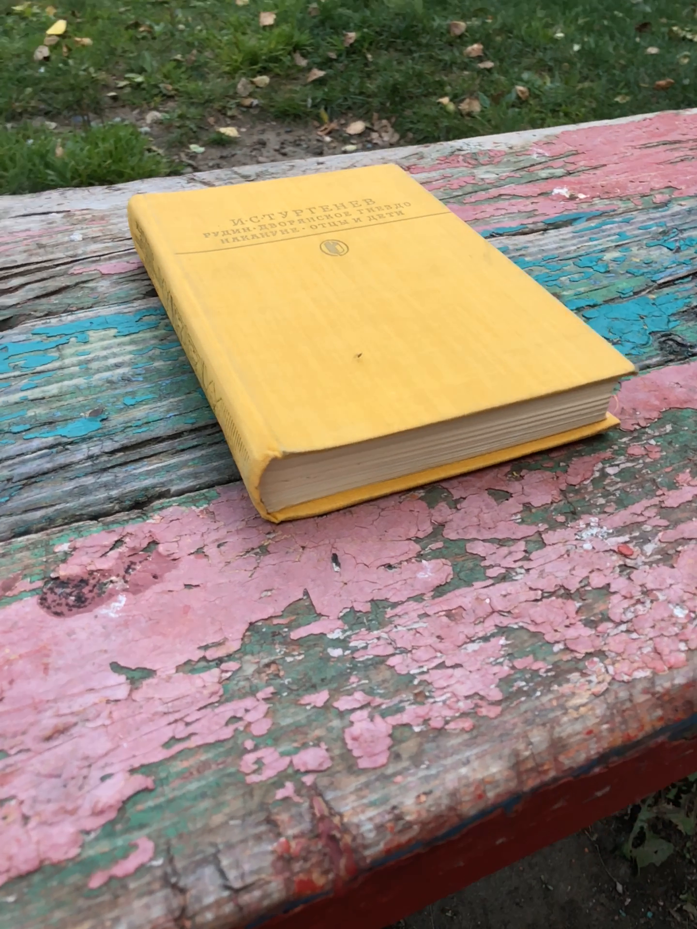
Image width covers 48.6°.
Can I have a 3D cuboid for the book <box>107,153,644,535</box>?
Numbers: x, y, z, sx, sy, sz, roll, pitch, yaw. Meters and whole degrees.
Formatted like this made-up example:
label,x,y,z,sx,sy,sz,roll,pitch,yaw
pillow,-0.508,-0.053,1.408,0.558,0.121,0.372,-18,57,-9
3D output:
label,x,y,z,sx,sy,sz,roll,pitch,yaw
book,-0.006,-0.075,0.339,0.153,0.032,0.218,-14,45,-19
